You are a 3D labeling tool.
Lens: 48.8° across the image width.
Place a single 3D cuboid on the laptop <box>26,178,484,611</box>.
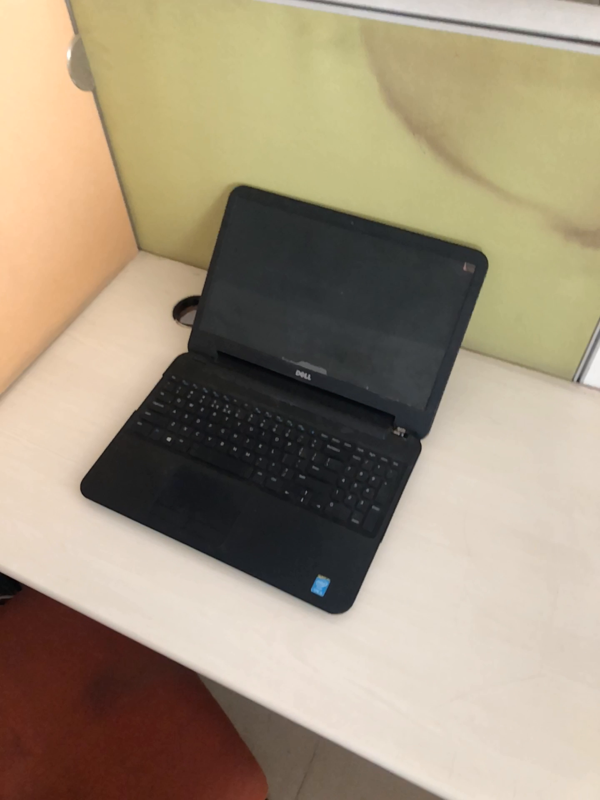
[{"bbox_3d":[-0.027,-0.039,0.807,0.355,0.158,0.428,20,58,17],"label":"laptop"}]
